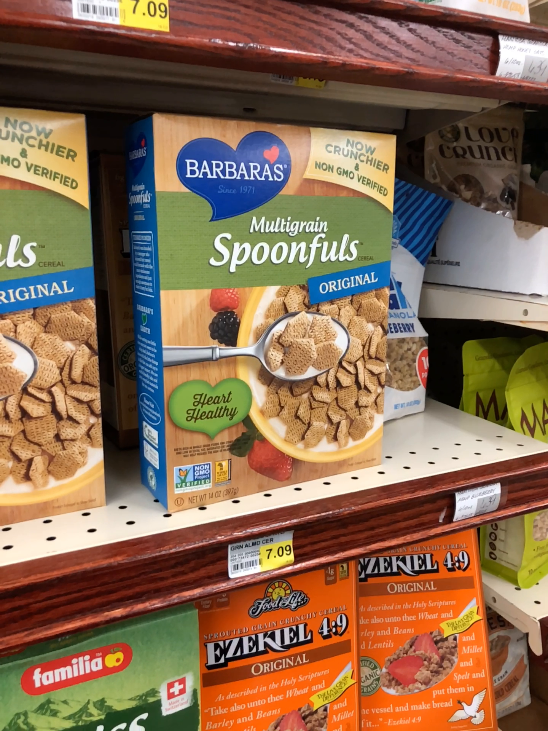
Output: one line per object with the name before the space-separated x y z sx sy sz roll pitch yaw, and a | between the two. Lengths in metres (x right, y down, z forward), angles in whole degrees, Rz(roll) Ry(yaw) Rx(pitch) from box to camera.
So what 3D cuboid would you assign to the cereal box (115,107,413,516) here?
cereal box | 0.000 -0.041 0.442 0.200 0.250 0.060 -7 14 -28
